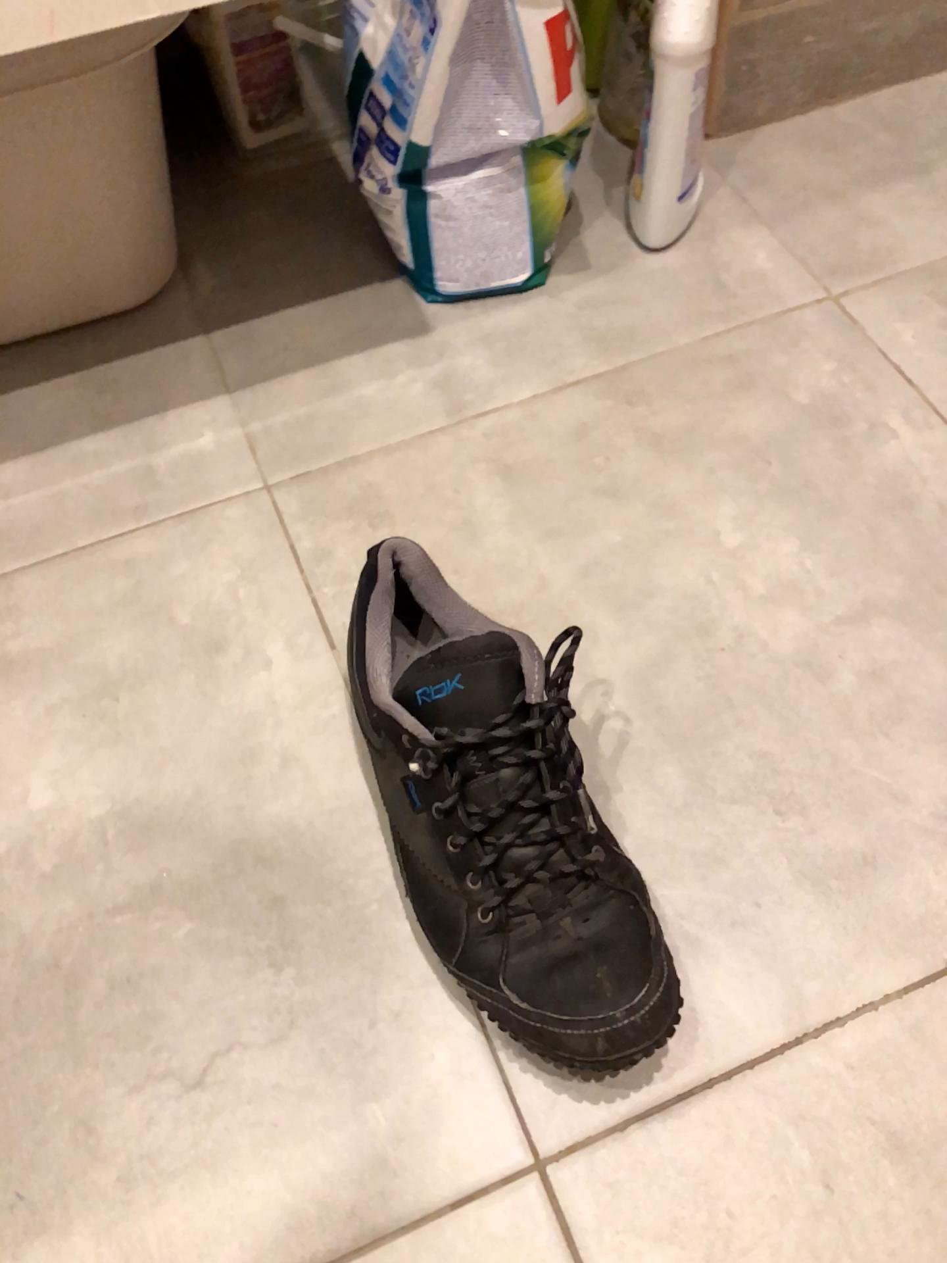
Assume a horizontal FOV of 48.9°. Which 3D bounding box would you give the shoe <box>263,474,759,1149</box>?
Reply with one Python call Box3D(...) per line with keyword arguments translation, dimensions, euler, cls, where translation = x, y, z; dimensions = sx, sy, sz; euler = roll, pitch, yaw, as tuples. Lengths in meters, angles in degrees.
Box3D(translation=(0.004, 0.073, 0.481), dimensions=(0.100, 0.109, 0.271), euler=(-22, 59, -11), cls="shoe")
